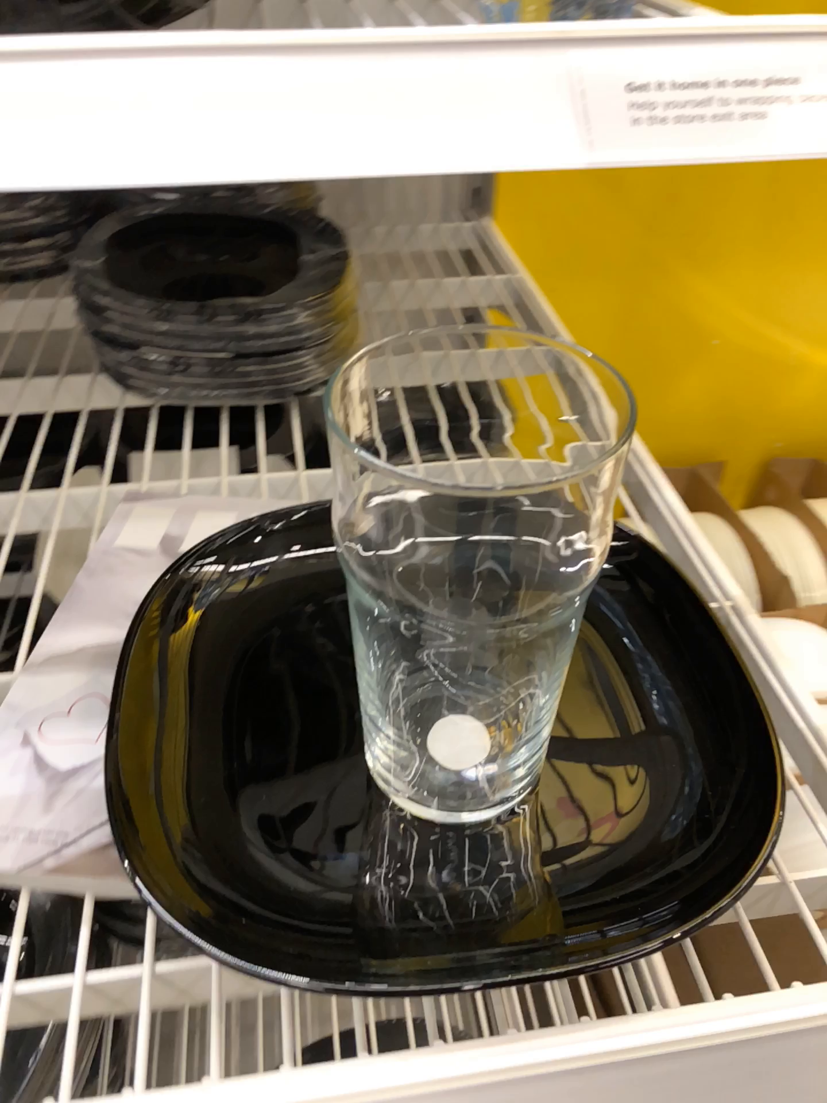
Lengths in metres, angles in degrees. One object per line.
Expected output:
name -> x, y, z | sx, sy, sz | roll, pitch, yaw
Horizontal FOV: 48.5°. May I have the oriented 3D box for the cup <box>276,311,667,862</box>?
cup -> 0.017, 0.011, 0.288 | 0.090, 0.139, 0.090 | 1, 37, 0
